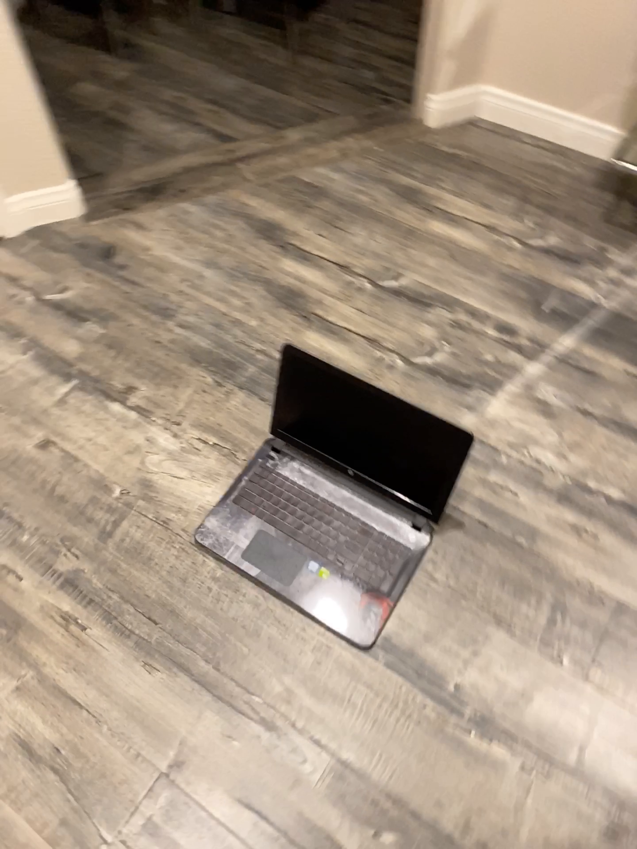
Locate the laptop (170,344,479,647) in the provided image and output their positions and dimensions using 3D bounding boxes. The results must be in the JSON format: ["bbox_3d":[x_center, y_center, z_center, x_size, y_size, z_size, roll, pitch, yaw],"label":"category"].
[{"bbox_3d":[0.015,0.115,1.124,0.371,0.225,0.328,27,61,17],"label":"laptop"}]
